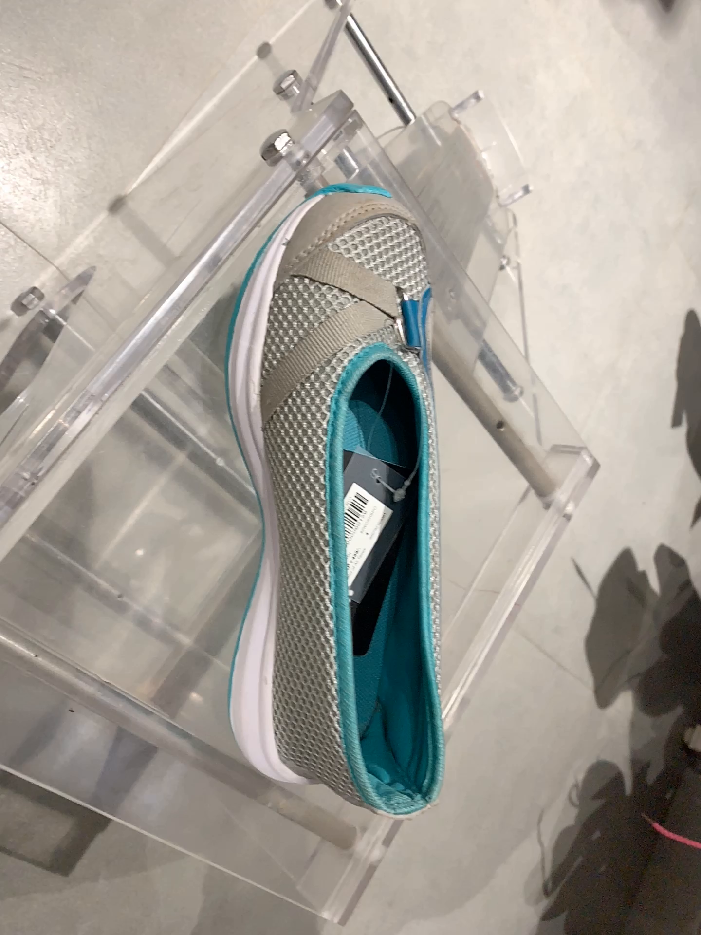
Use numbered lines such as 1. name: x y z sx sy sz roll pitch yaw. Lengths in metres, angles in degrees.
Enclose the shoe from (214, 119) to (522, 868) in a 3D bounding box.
1. shoe: 0.004 0.011 0.317 0.090 0.080 0.270 -2 98 -38
